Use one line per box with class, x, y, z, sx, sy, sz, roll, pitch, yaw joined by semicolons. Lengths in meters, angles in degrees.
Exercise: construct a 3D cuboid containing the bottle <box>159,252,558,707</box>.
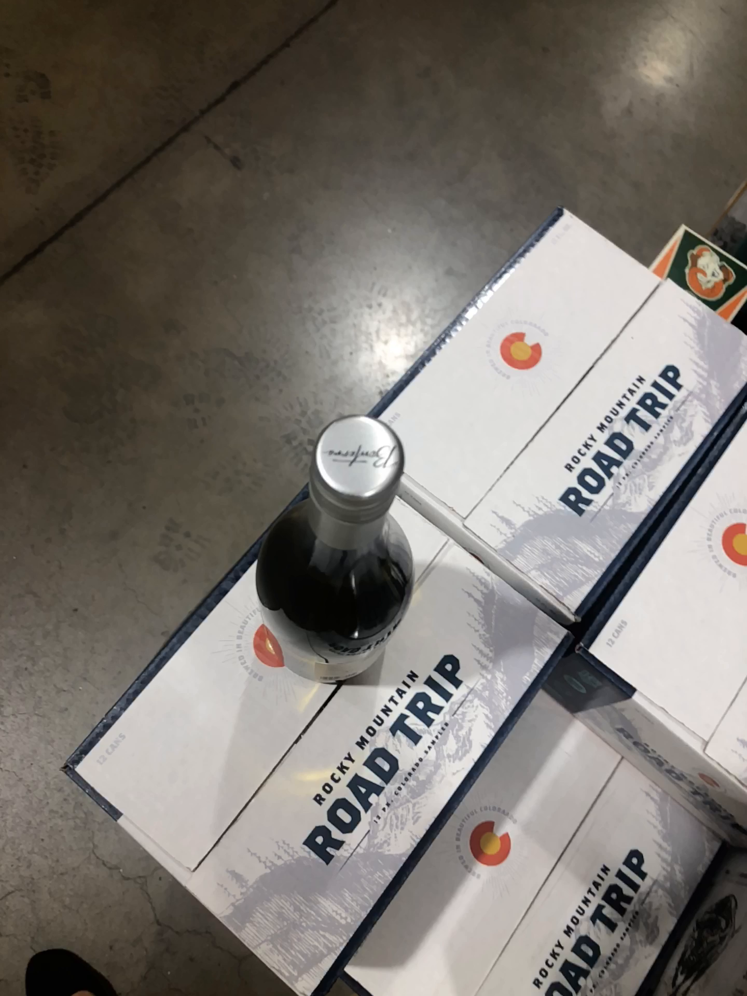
bottle;-0.016;0.023;0.386;0.090;0.285;0.083;2;71;-5
